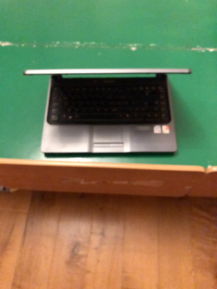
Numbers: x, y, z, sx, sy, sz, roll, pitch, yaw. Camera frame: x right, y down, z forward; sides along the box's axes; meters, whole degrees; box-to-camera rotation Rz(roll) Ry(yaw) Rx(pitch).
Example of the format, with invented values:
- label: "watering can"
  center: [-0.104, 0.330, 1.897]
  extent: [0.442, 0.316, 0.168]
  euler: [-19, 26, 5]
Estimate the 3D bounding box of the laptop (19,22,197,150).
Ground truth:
- label: "laptop"
  center: [0.003, -0.127, 0.558]
  extent: [0.316, 0.171, 0.227]
  euler: [0, 64, 0]
